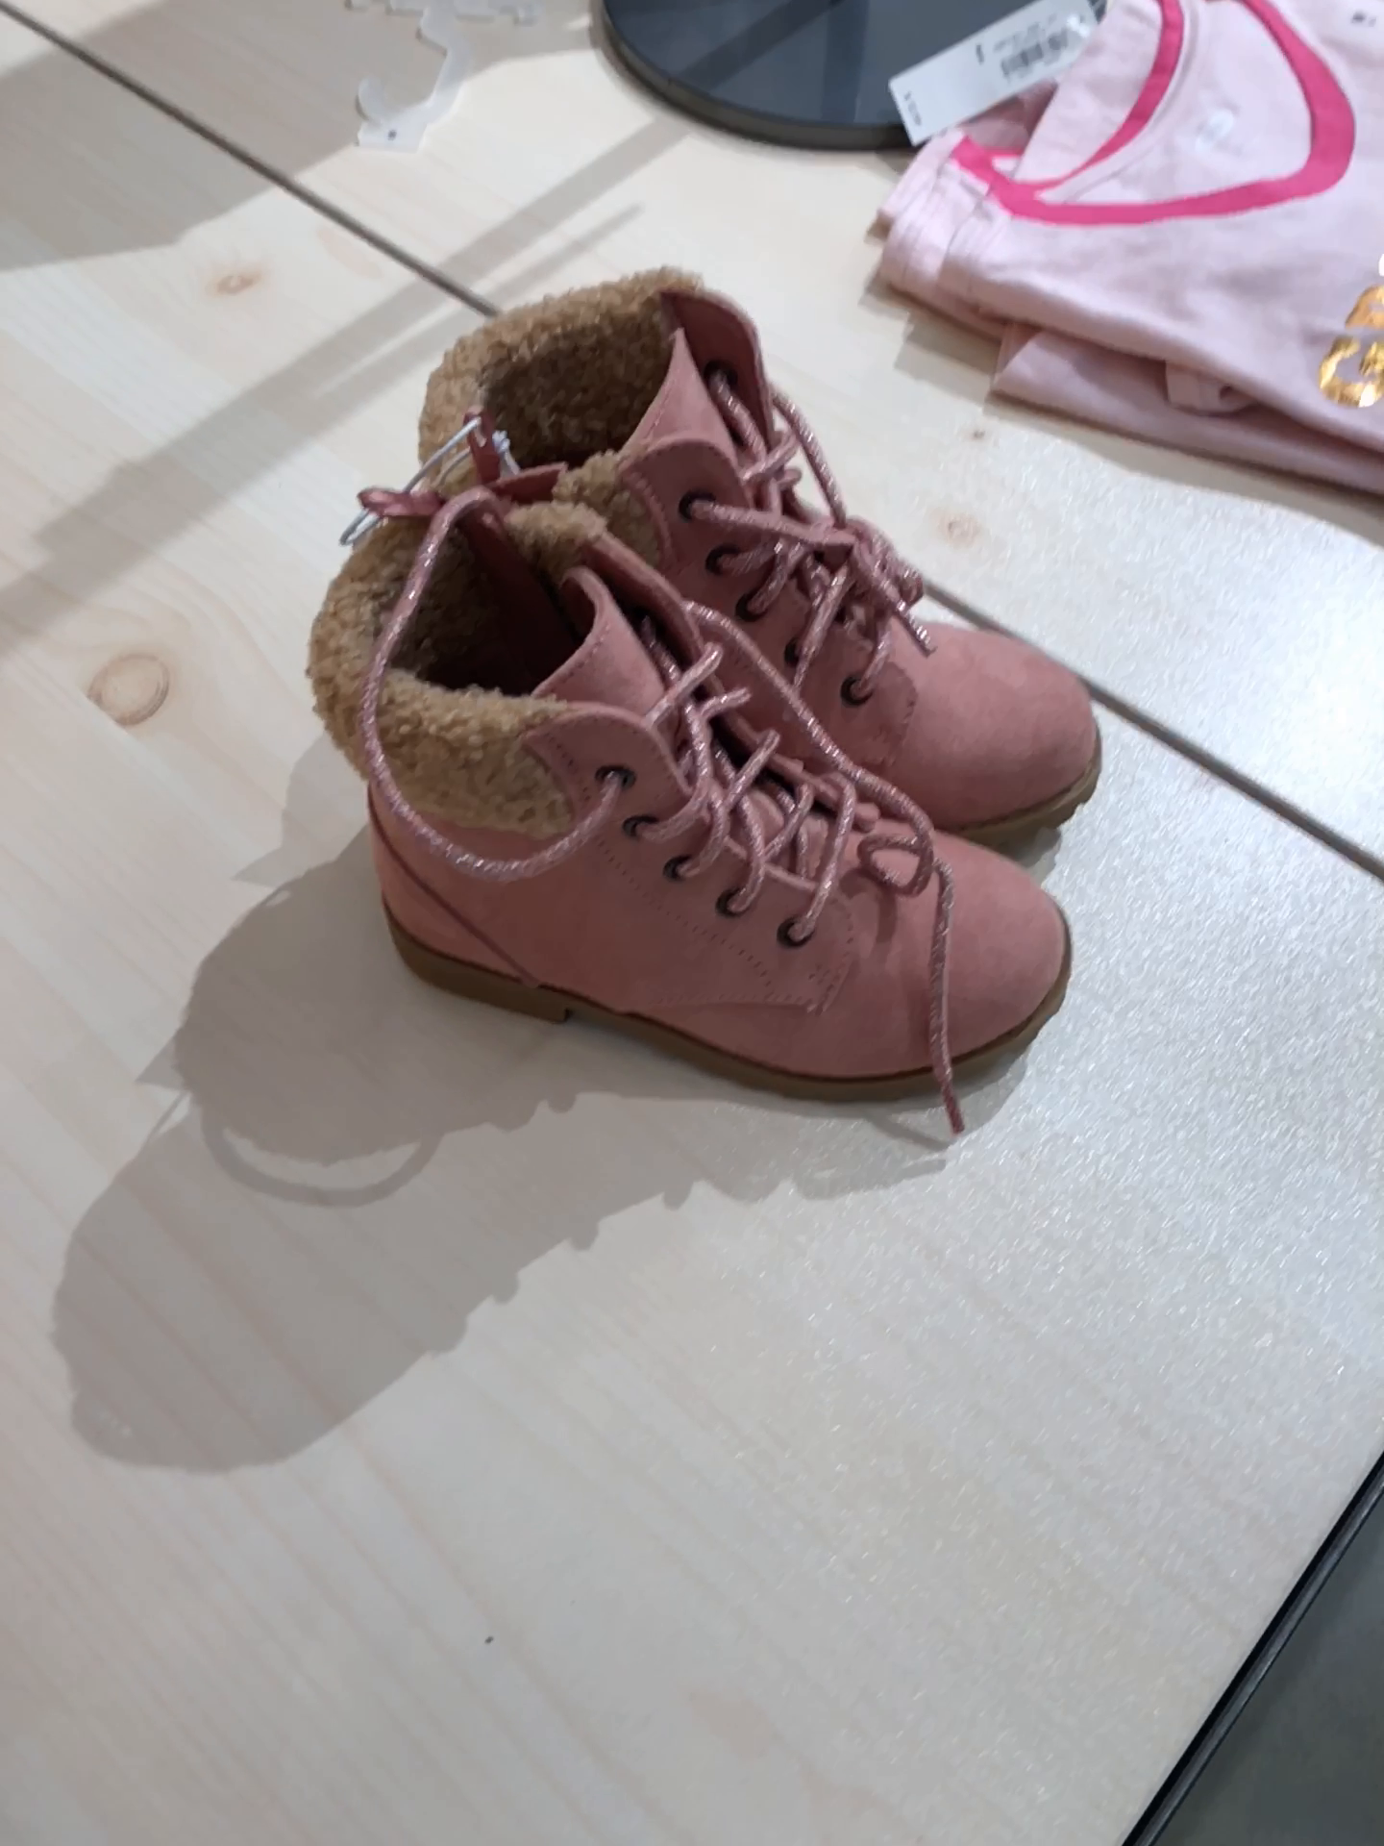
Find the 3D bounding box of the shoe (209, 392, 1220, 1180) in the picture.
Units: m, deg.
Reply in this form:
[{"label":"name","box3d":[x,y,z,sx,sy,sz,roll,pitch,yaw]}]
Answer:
[{"label":"shoe","box3d":[0.008,-0.023,0.313,0.160,0.120,0.080,10,59,6]}]

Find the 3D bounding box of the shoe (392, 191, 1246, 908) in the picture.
[{"label":"shoe","box3d":[0.029,-0.082,0.359,0.160,0.120,0.080,10,59,6]}]
